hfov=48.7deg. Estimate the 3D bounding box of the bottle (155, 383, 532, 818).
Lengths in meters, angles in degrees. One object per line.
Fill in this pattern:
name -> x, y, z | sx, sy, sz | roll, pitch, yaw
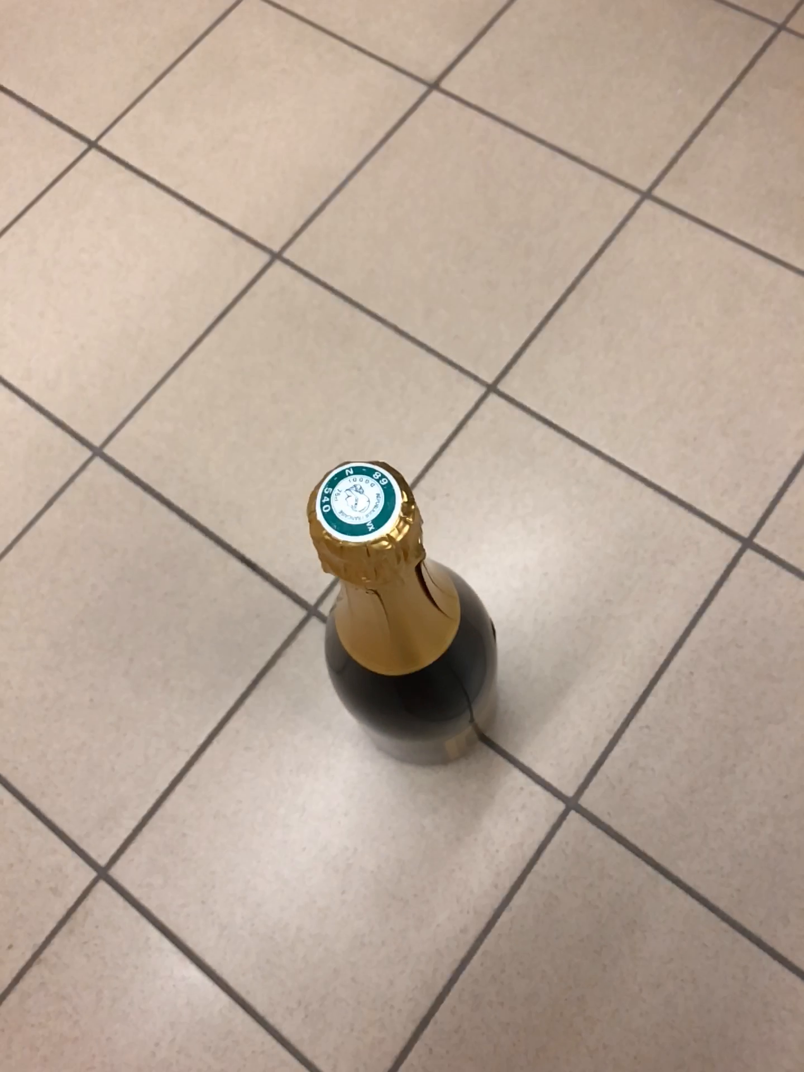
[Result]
bottle -> -0.006, 0.060, 0.395 | 0.100, 0.309, 0.100 | -2, 69, 5
